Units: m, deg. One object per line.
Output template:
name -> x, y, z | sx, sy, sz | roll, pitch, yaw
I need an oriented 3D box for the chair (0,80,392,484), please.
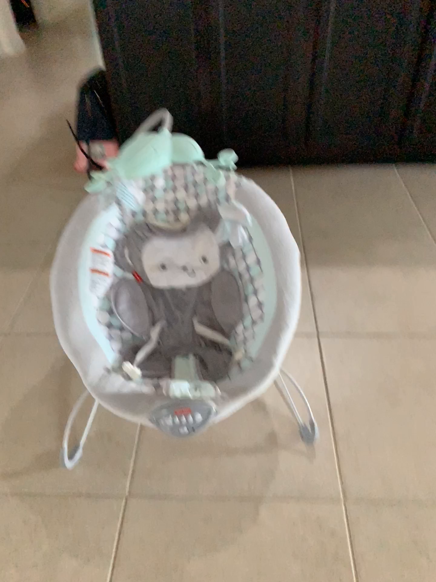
chair -> -0.083, -0.026, 0.917 | 0.571, 0.579, 0.549 | -3, 41, 0
